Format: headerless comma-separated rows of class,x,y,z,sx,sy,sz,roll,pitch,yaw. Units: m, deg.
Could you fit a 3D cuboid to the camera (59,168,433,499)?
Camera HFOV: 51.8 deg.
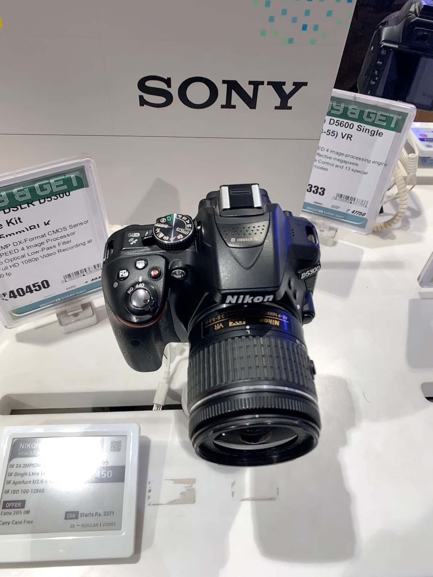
camera,0.008,0.013,0.210,0.130,0.070,0.130,-3,49,-6
